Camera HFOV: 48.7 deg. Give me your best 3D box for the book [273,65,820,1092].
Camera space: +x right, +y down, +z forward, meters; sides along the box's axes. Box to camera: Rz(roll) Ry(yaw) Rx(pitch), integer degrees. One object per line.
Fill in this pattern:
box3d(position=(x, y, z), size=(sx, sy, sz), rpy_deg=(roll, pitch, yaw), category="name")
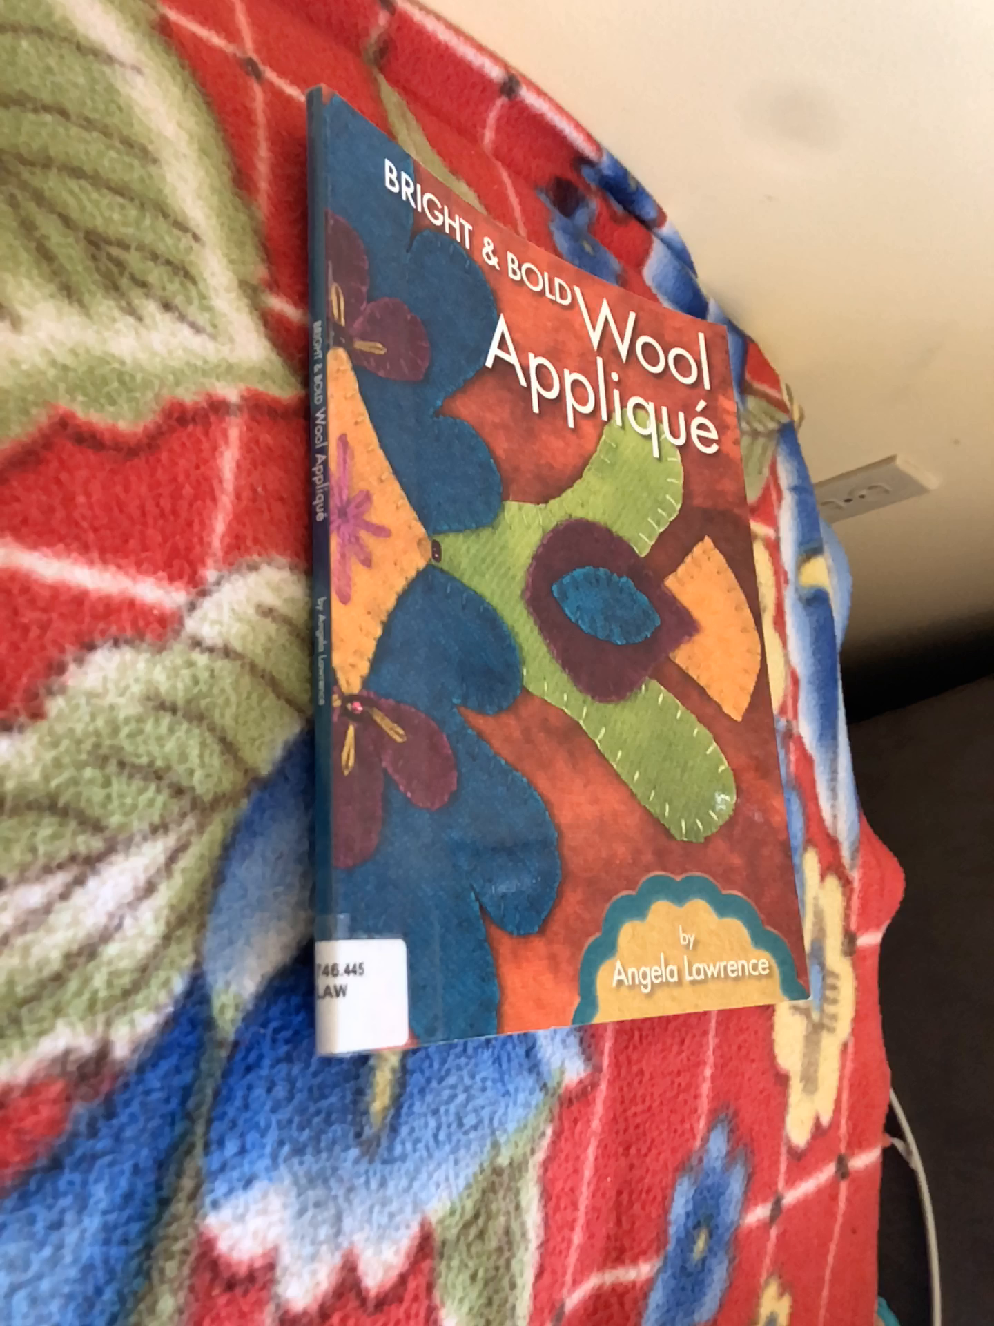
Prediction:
box3d(position=(0.026, -0.018, 0.354), size=(0.221, 0.020, 0.264), rpy_deg=(12, 68, -47), category="book")
